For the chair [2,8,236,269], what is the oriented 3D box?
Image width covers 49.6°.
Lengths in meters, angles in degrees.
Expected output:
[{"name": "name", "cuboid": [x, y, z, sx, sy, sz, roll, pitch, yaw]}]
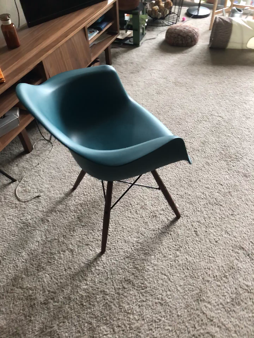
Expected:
[{"name": "chair", "cuboid": [-0.039, -0.097, 1.176, 0.561, 0.785, 0.583, -23, 52, -11]}]
